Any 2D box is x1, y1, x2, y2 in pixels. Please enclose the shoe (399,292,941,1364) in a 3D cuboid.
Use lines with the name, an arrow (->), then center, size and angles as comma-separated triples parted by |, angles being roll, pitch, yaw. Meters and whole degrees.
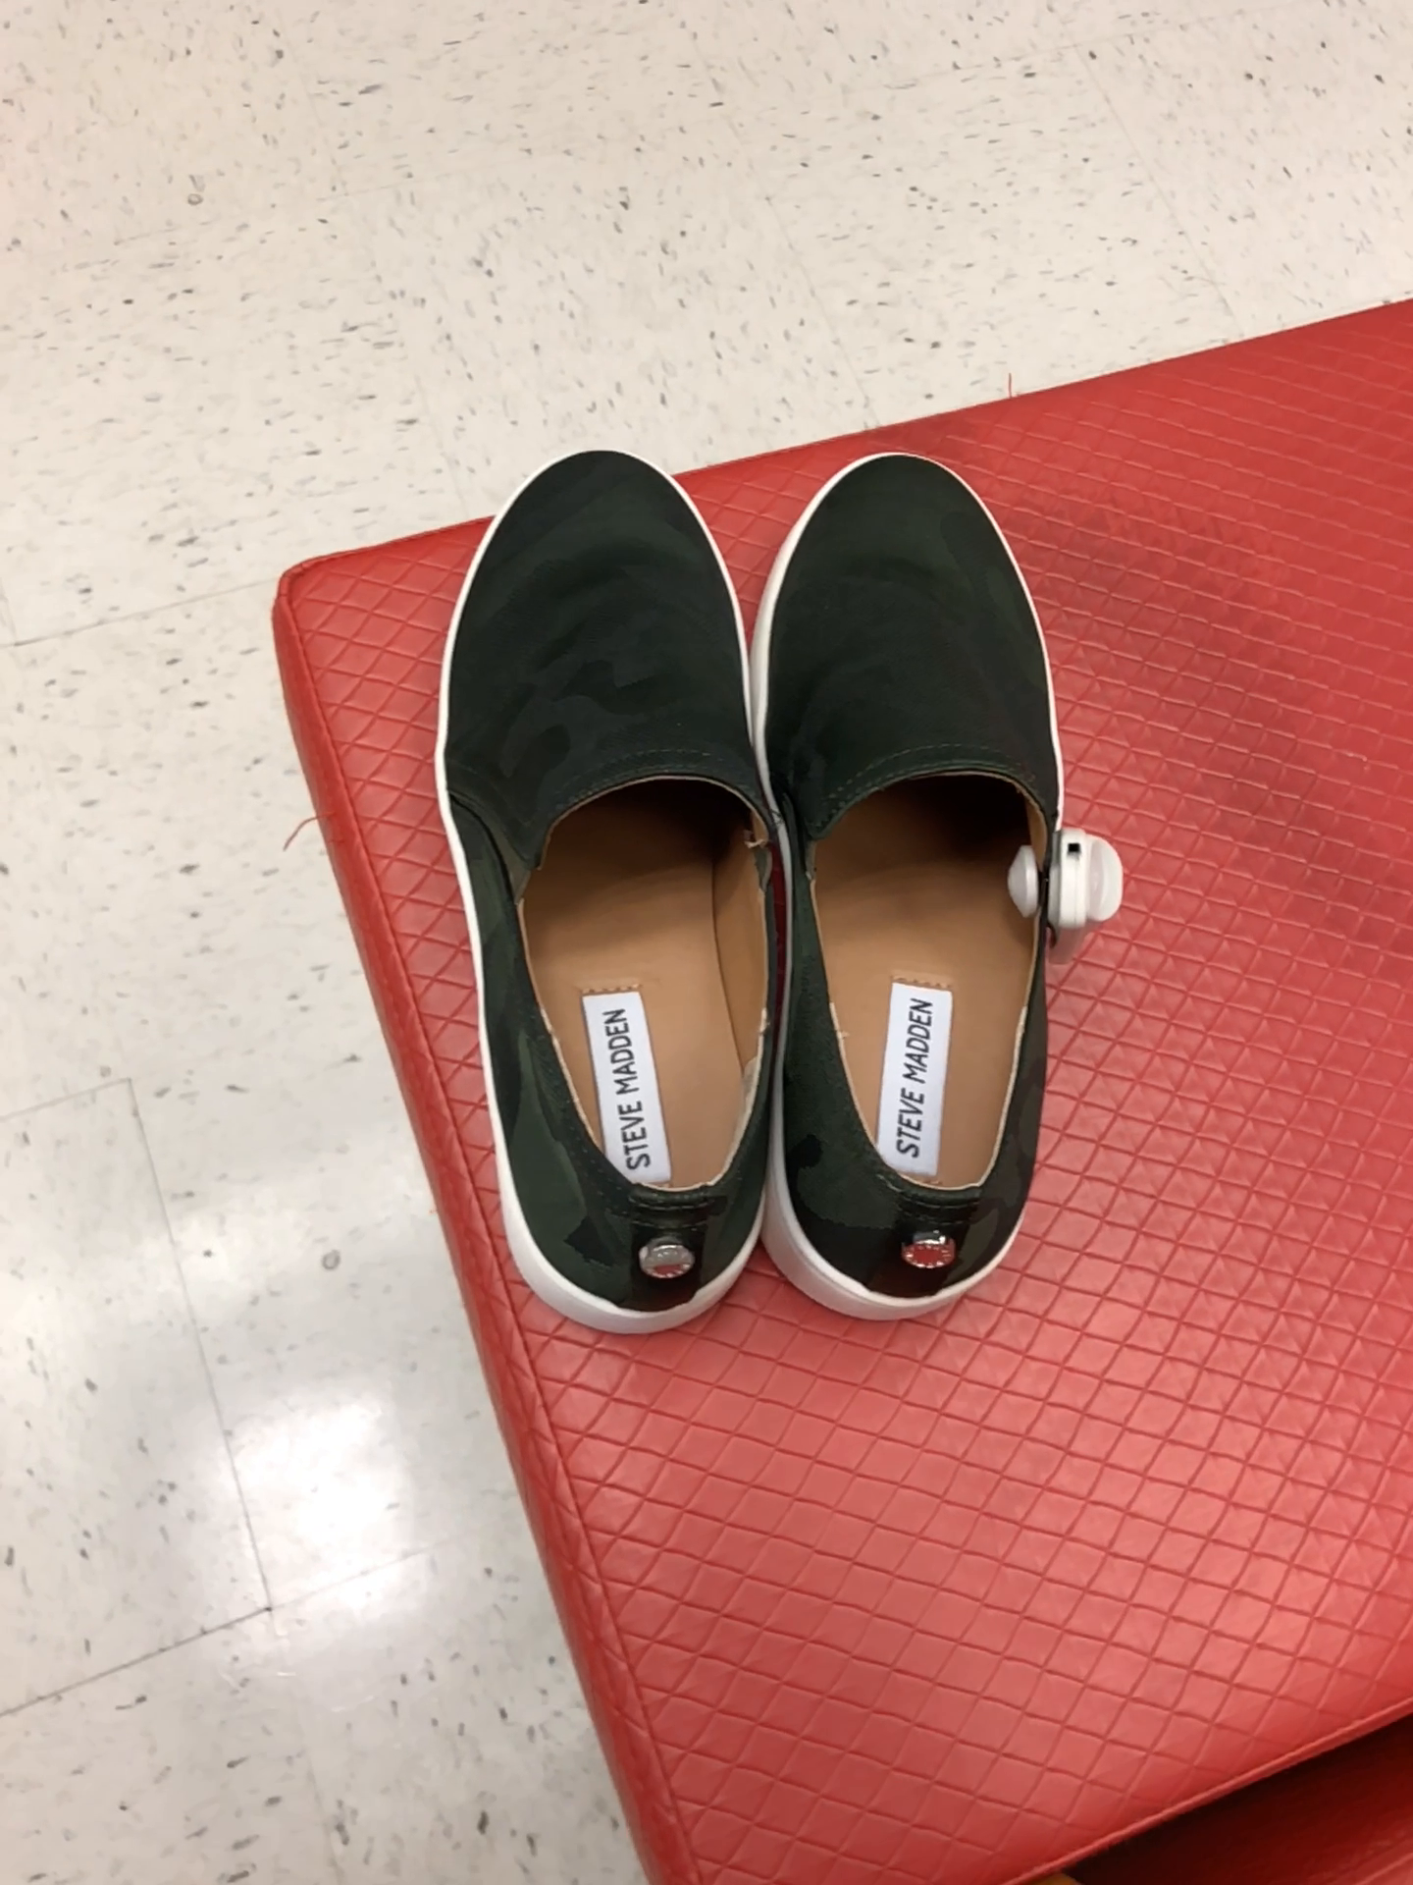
shoe -> -0.020, -0.037, 0.428 | 0.105, 0.086, 0.276 | -4, 69, -7

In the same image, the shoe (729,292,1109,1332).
shoe -> 0.054, -0.039, 0.438 | 0.077, 0.086, 0.276 | 4, 68, -4
